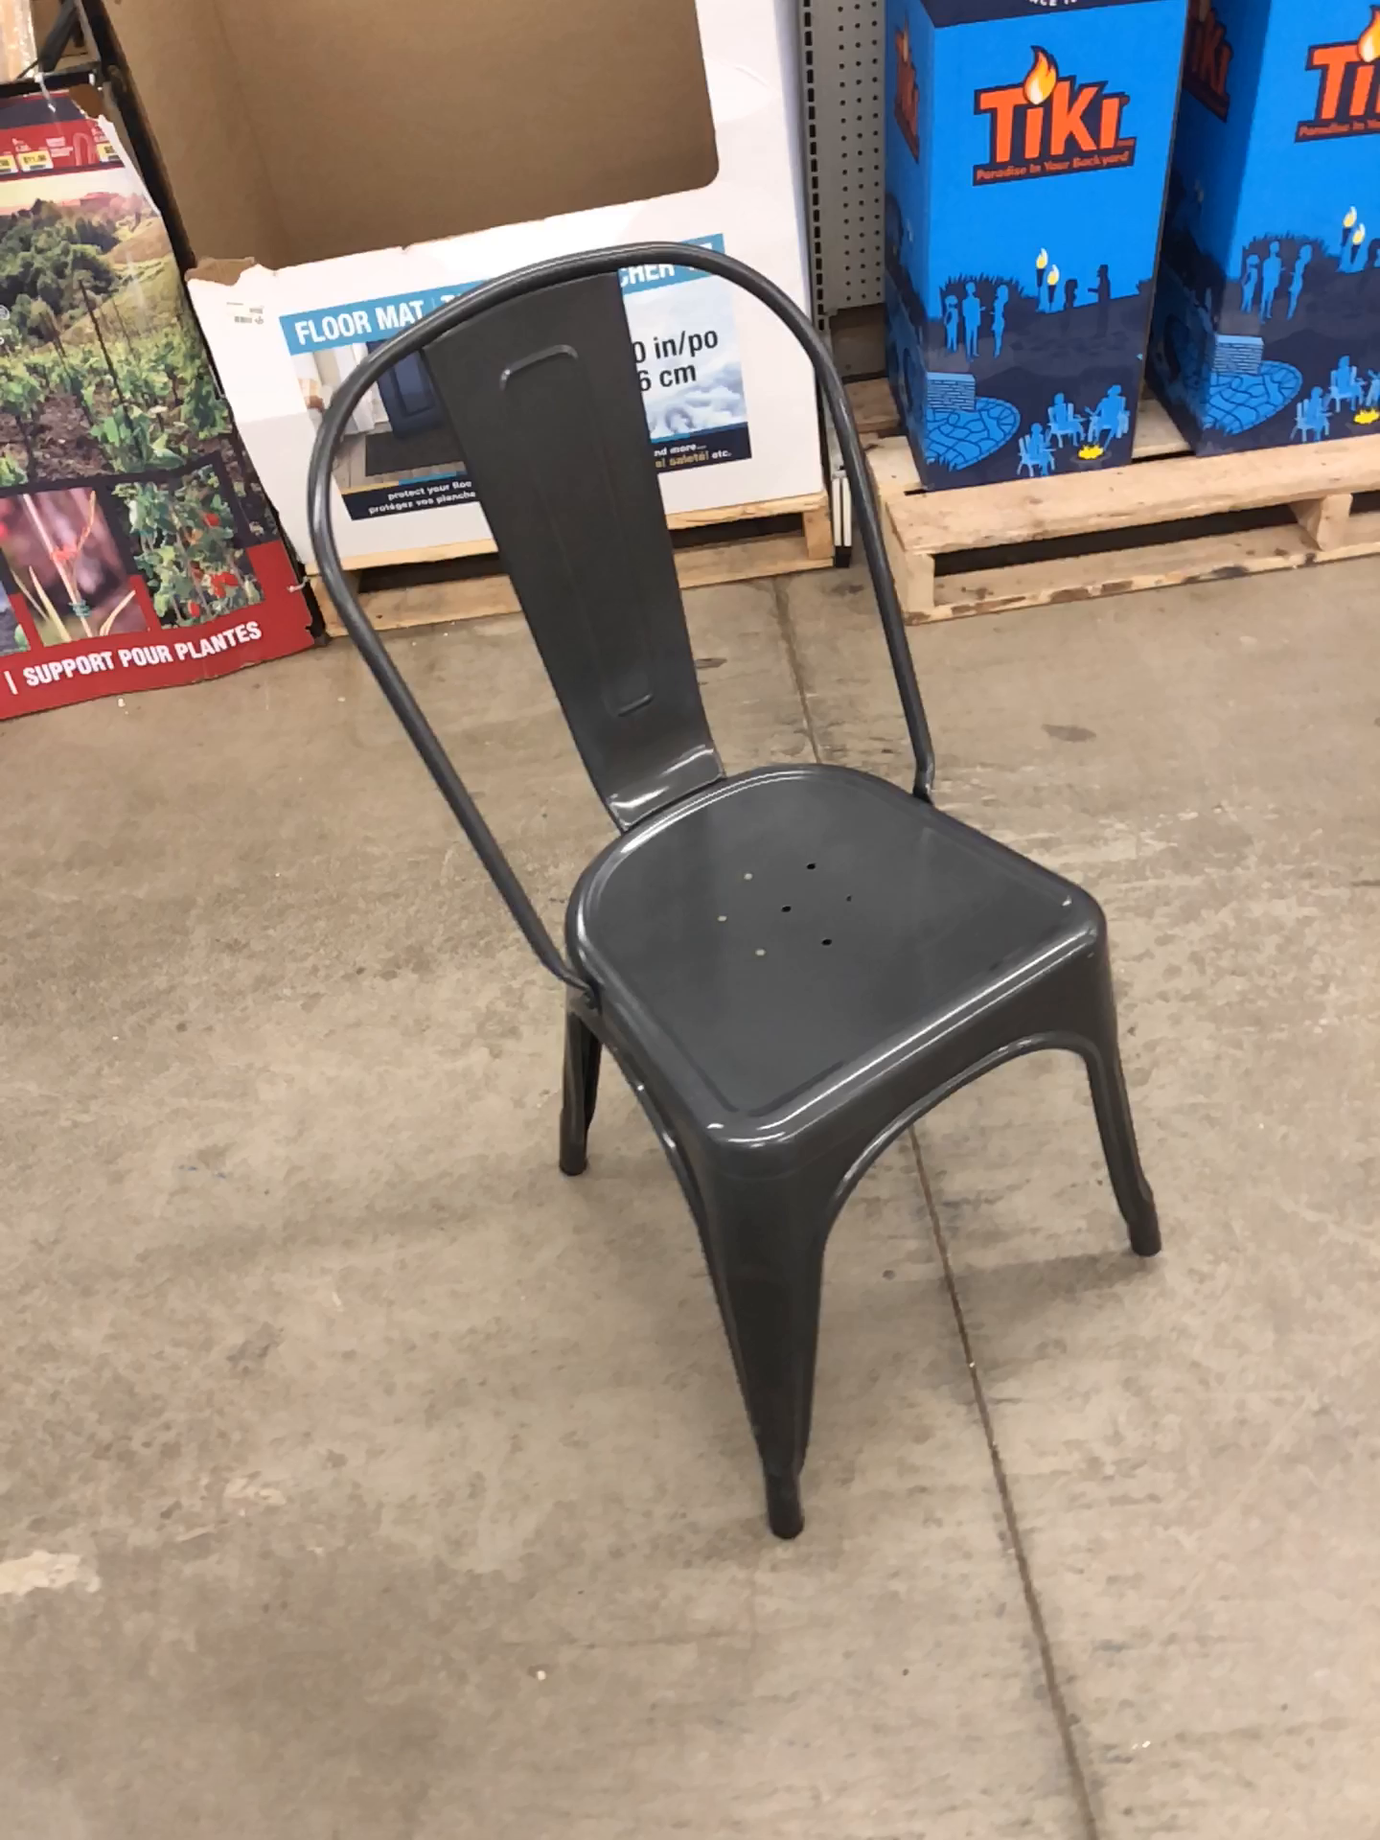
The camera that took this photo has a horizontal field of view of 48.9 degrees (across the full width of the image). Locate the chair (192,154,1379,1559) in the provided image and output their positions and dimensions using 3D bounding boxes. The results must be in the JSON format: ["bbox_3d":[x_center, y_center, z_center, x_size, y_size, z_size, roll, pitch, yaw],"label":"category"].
[{"bbox_3d":[0.073,-0.032,1.160,0.480,0.817,0.502,-30,48,-21],"label":"chair"}]
